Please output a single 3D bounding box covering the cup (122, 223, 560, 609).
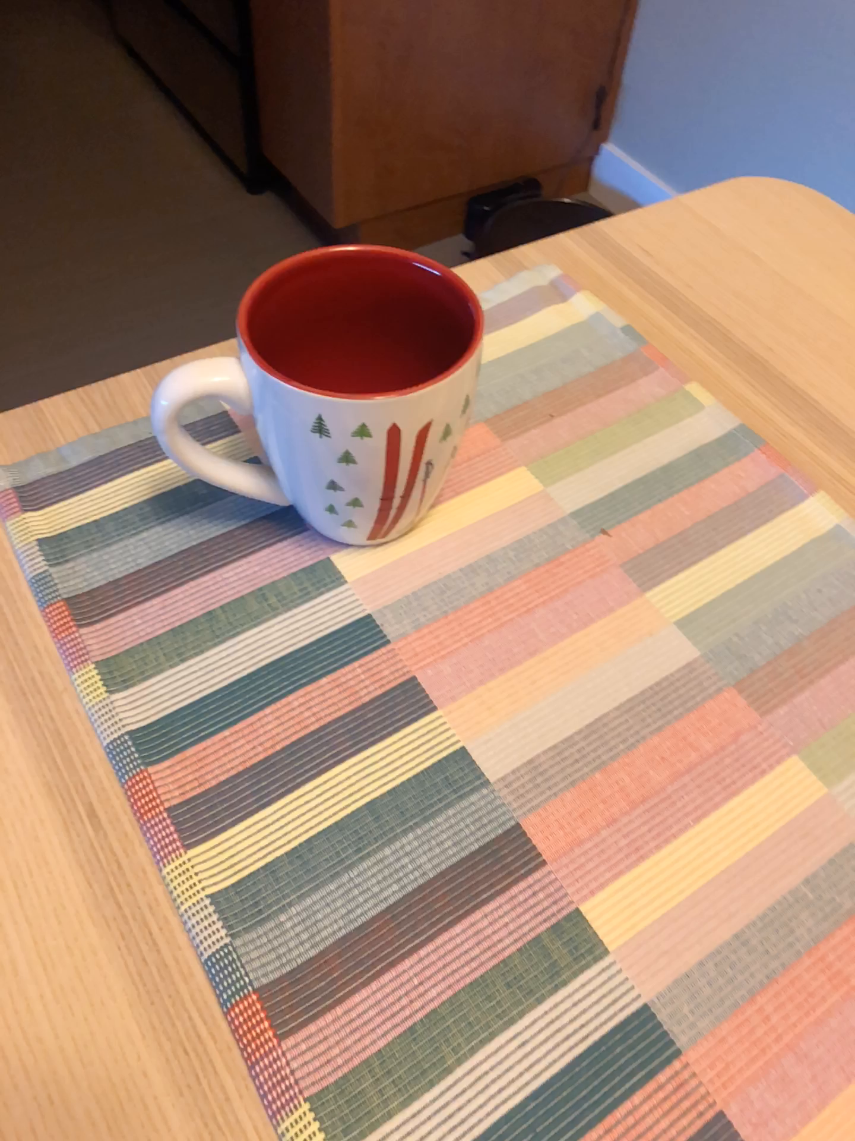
[{"bbox_3d":[-0.038,-0.065,0.385,0.140,0.090,0.100,-12,53,-14],"label":"cup"}]
